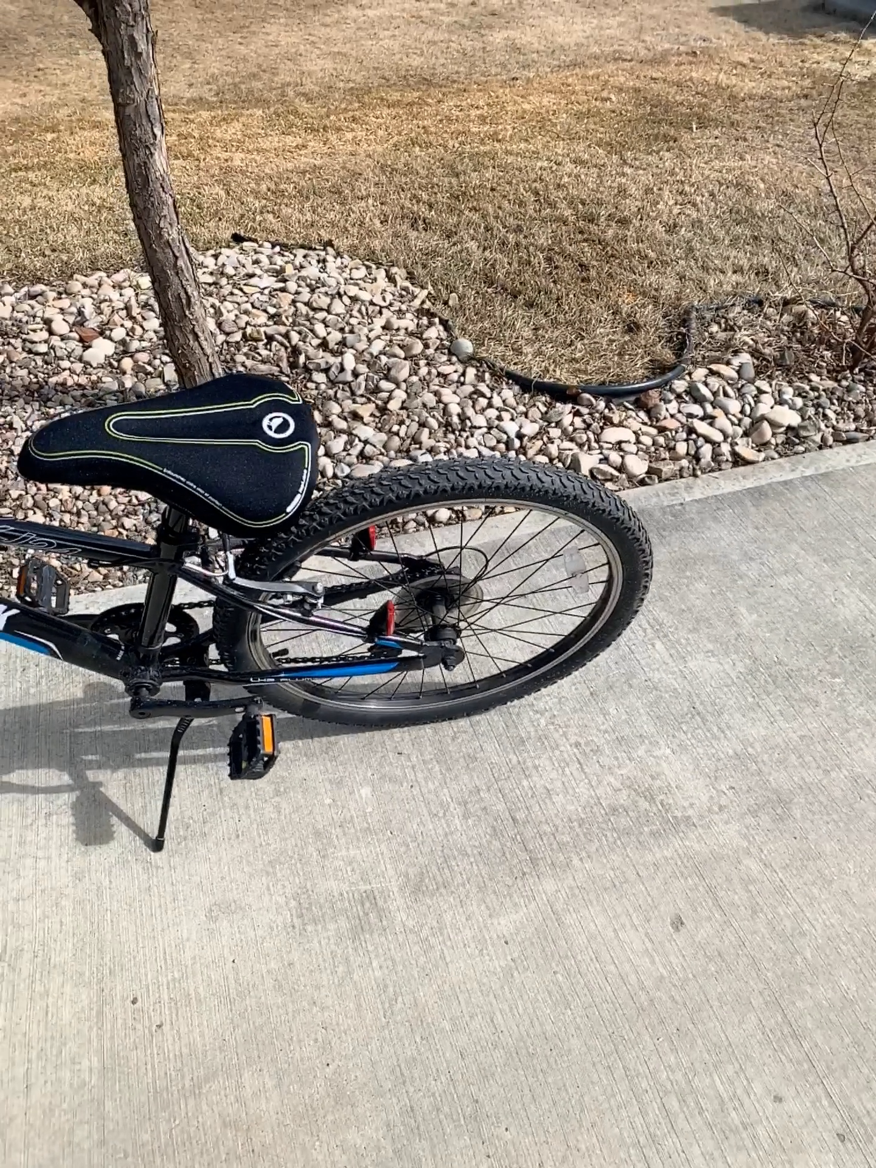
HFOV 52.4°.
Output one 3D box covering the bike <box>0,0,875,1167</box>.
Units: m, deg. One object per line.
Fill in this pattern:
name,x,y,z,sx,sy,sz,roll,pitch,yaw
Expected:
bike,-0.427,0.105,0.928,1.389,0.885,0.517,-15,44,-7
